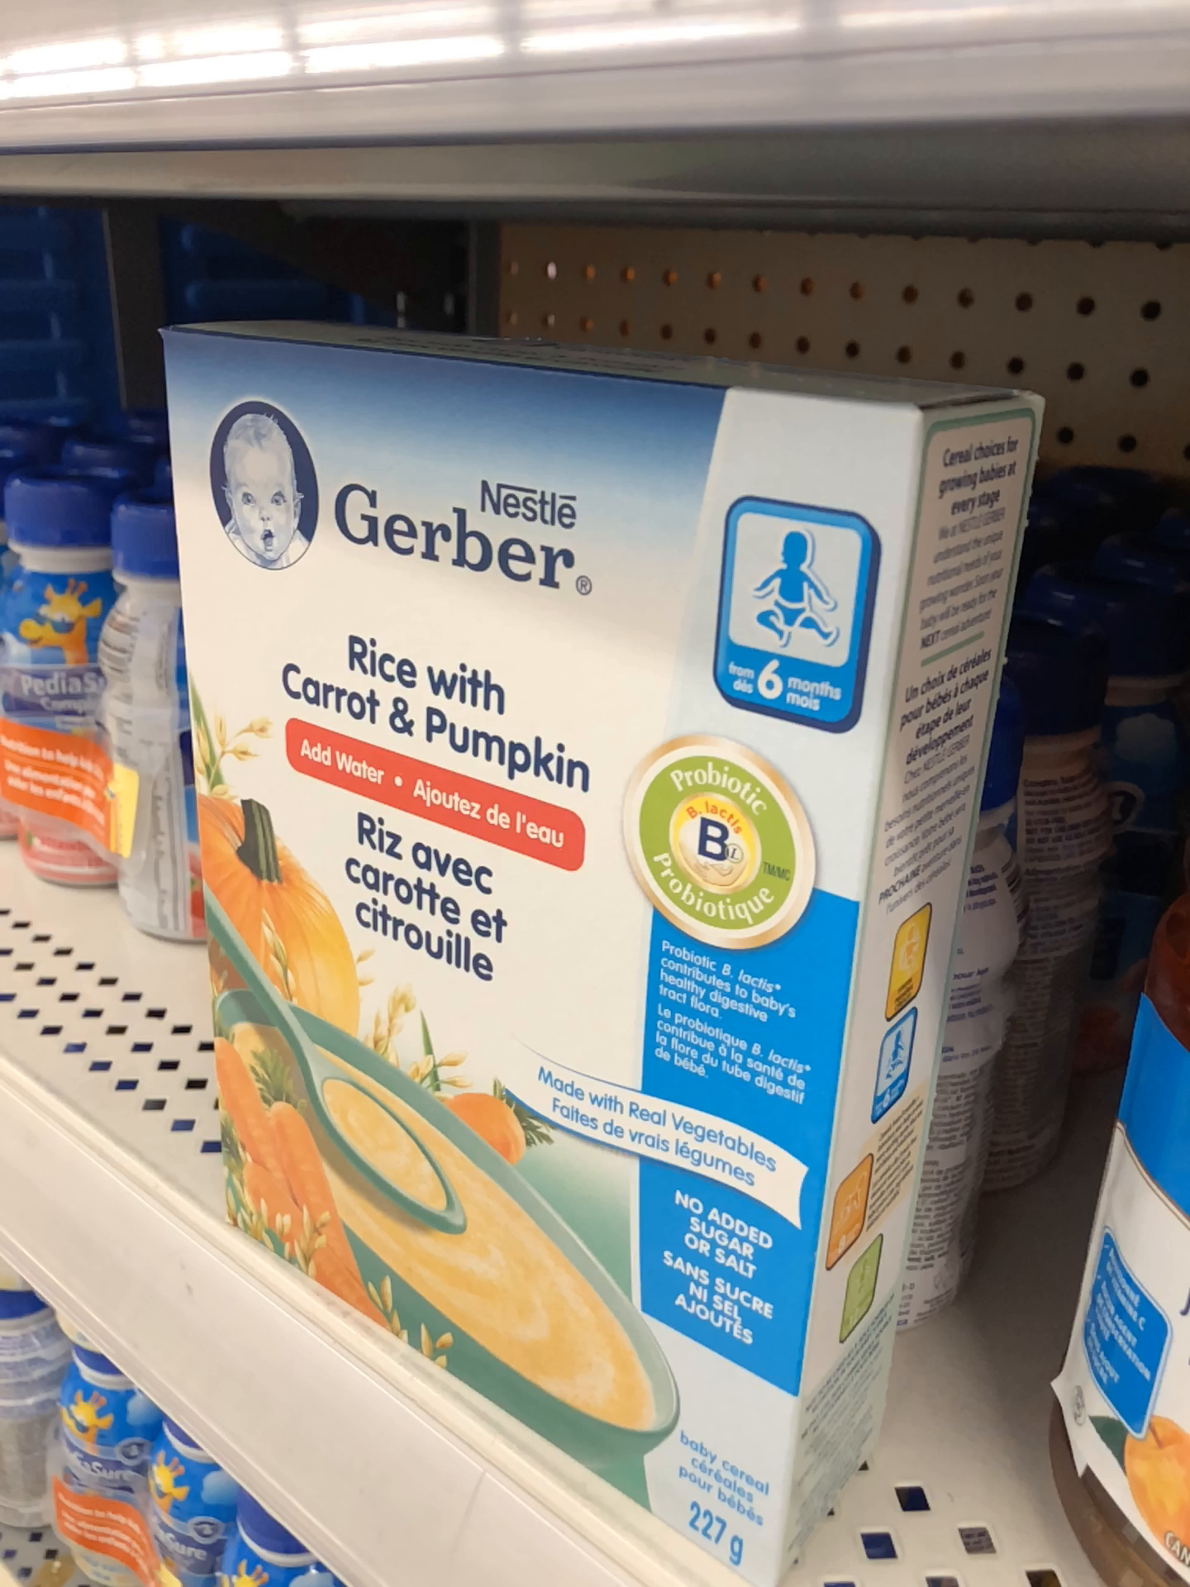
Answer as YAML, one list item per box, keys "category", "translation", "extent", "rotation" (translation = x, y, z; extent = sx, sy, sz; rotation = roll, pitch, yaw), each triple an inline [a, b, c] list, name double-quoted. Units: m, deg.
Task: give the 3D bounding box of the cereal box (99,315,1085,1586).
- category: "cereal box"
  translation: [-0.013, 0.016, 0.235]
  extent: [0.150, 0.179, 0.050]
  rotation: [18, 27, 33]
